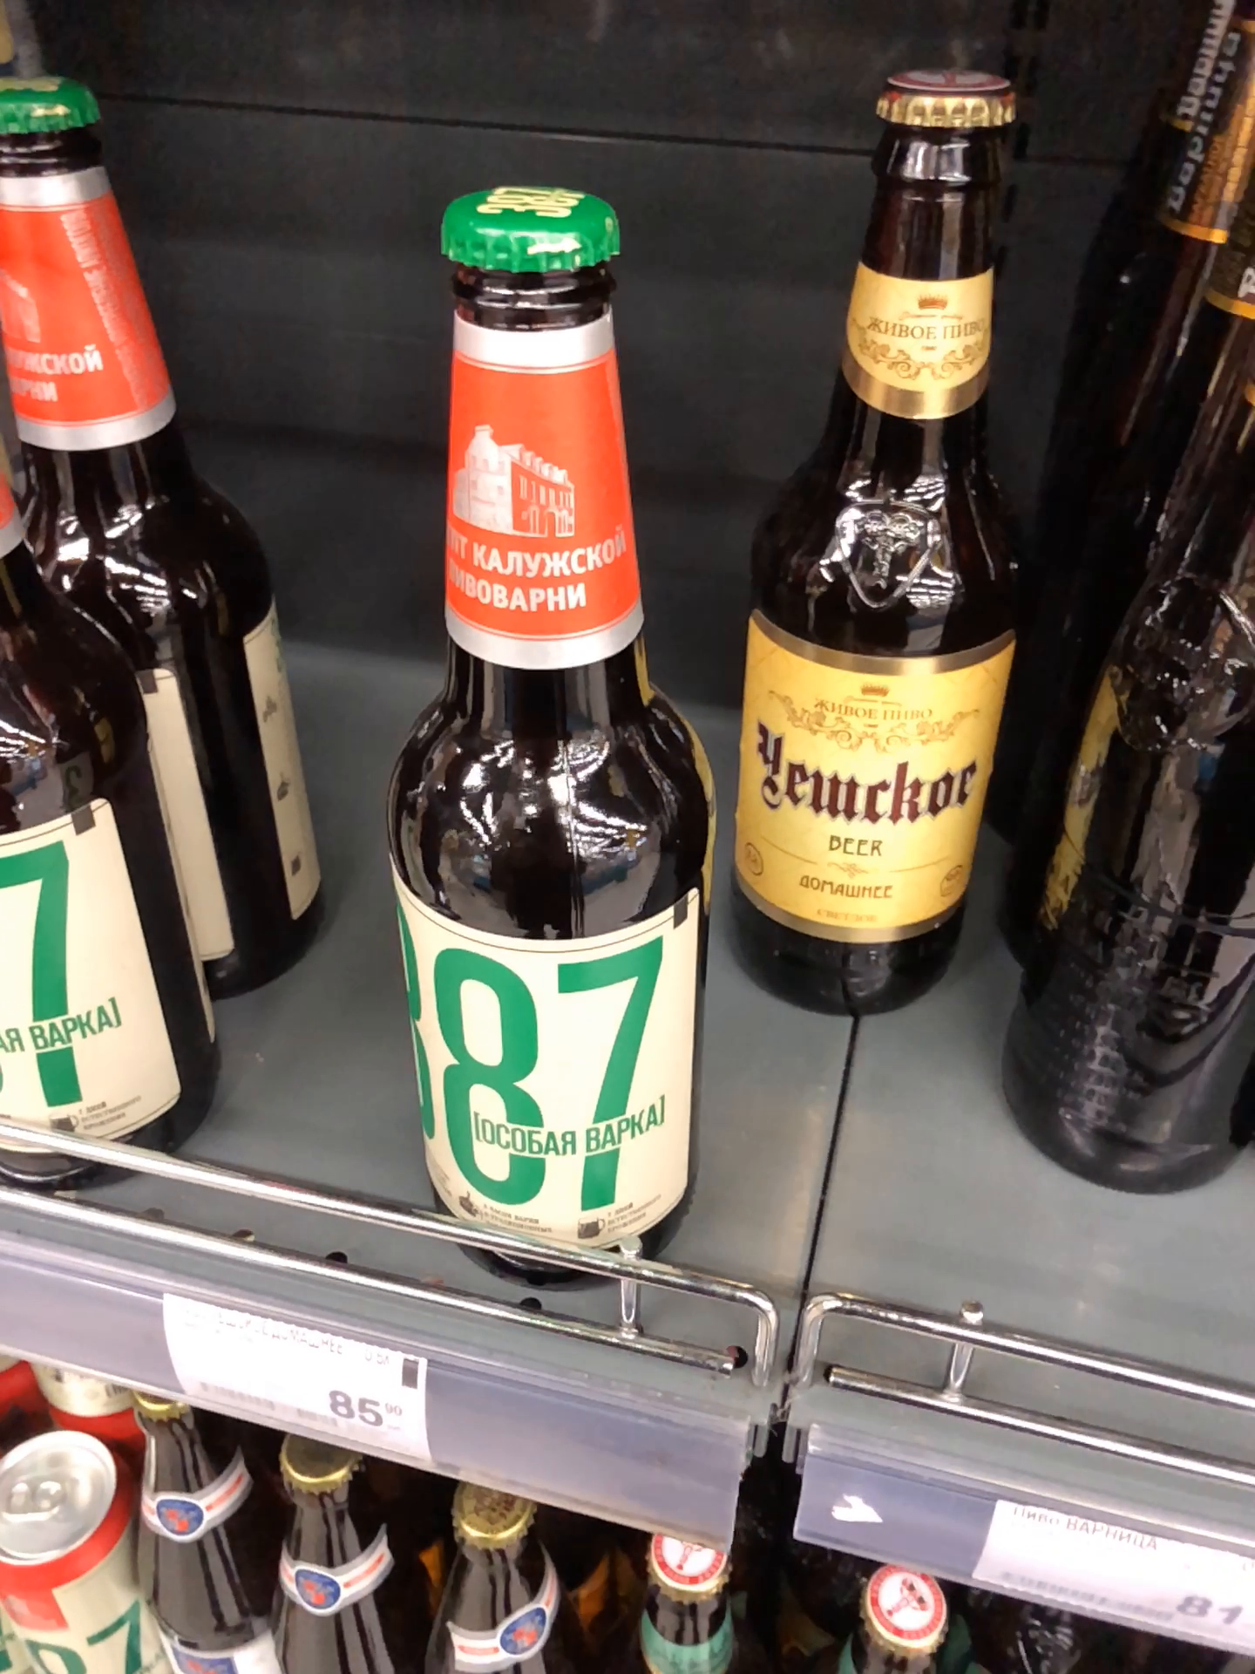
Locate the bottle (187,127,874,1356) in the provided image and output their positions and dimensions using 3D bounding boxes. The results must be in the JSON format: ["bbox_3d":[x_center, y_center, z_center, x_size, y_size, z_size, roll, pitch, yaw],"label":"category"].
[{"bbox_3d":[-0.013,-0.006,0.278,0.080,0.229,0.070,16,40,19],"label":"bottle"}]
